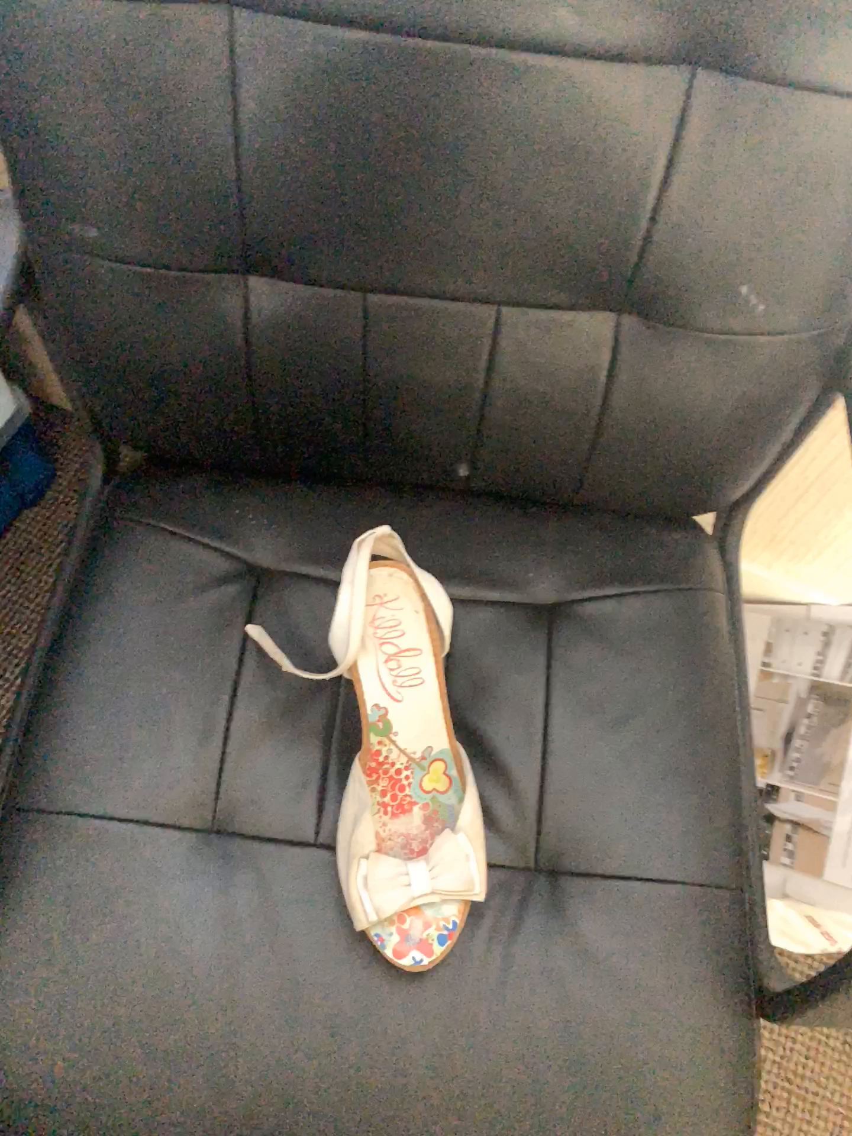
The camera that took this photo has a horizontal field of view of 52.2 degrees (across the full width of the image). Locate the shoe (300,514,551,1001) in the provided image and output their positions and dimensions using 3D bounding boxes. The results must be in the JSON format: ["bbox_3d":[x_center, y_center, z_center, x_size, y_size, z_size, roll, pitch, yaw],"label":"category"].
[{"bbox_3d":[-0.014,0.121,0.531,0.100,0.189,0.241,-4,65,-7],"label":"shoe"}]
